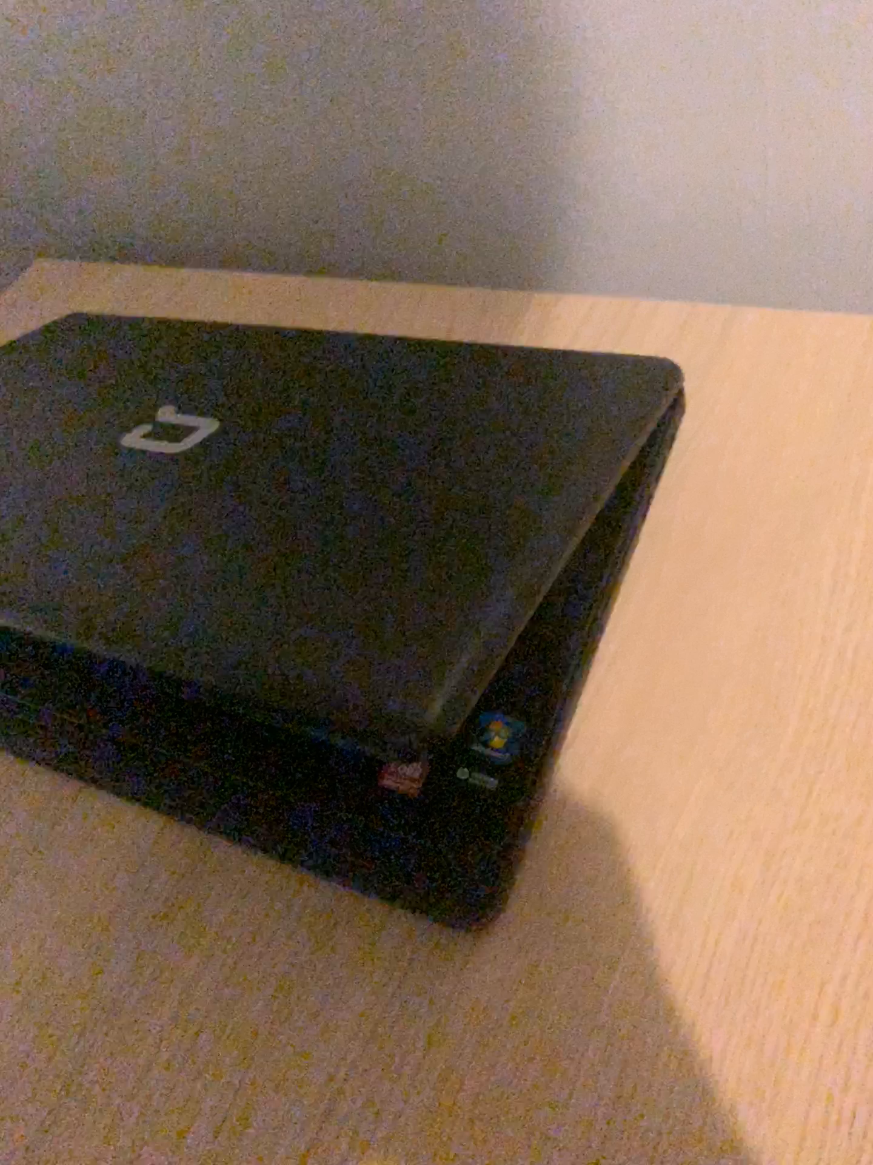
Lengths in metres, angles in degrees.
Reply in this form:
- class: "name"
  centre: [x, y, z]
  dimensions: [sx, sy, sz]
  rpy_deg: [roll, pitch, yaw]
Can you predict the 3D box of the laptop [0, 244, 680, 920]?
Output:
- class: "laptop"
  centre: [-0.115, -0.039, 0.388]
  dimensions: [0.374, 0.064, 0.224]
  rpy_deg: [12, 62, 27]
